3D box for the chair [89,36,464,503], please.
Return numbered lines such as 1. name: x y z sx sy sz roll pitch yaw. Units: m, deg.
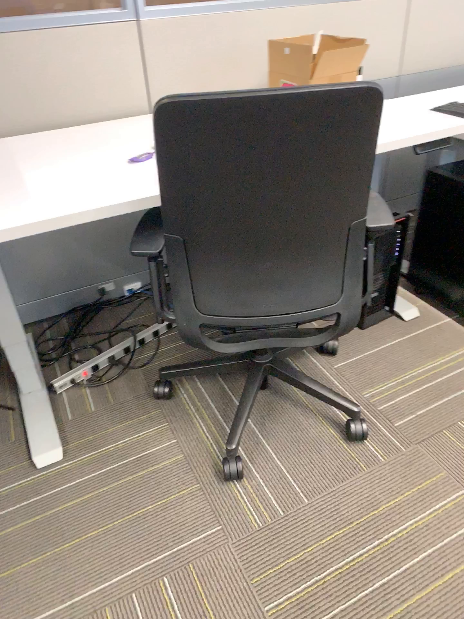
1. chair: 0.067 -0.162 1.302 0.700 0.934 0.755 -11 35 -10
